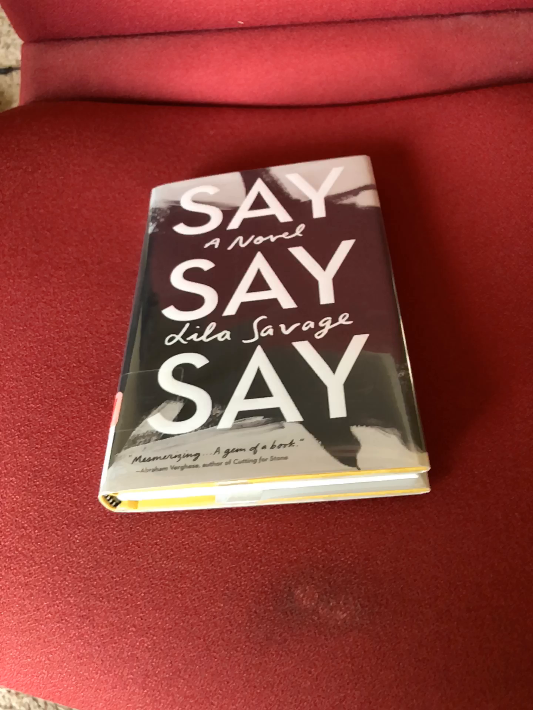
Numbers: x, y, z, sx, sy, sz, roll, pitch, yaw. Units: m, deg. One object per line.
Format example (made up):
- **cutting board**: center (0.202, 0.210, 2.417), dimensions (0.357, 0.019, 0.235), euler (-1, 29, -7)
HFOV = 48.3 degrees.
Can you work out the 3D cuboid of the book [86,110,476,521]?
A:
- **book**: center (0.003, -0.031, 0.301), dimensions (0.150, 0.040, 0.210), euler (-6, 57, 6)
